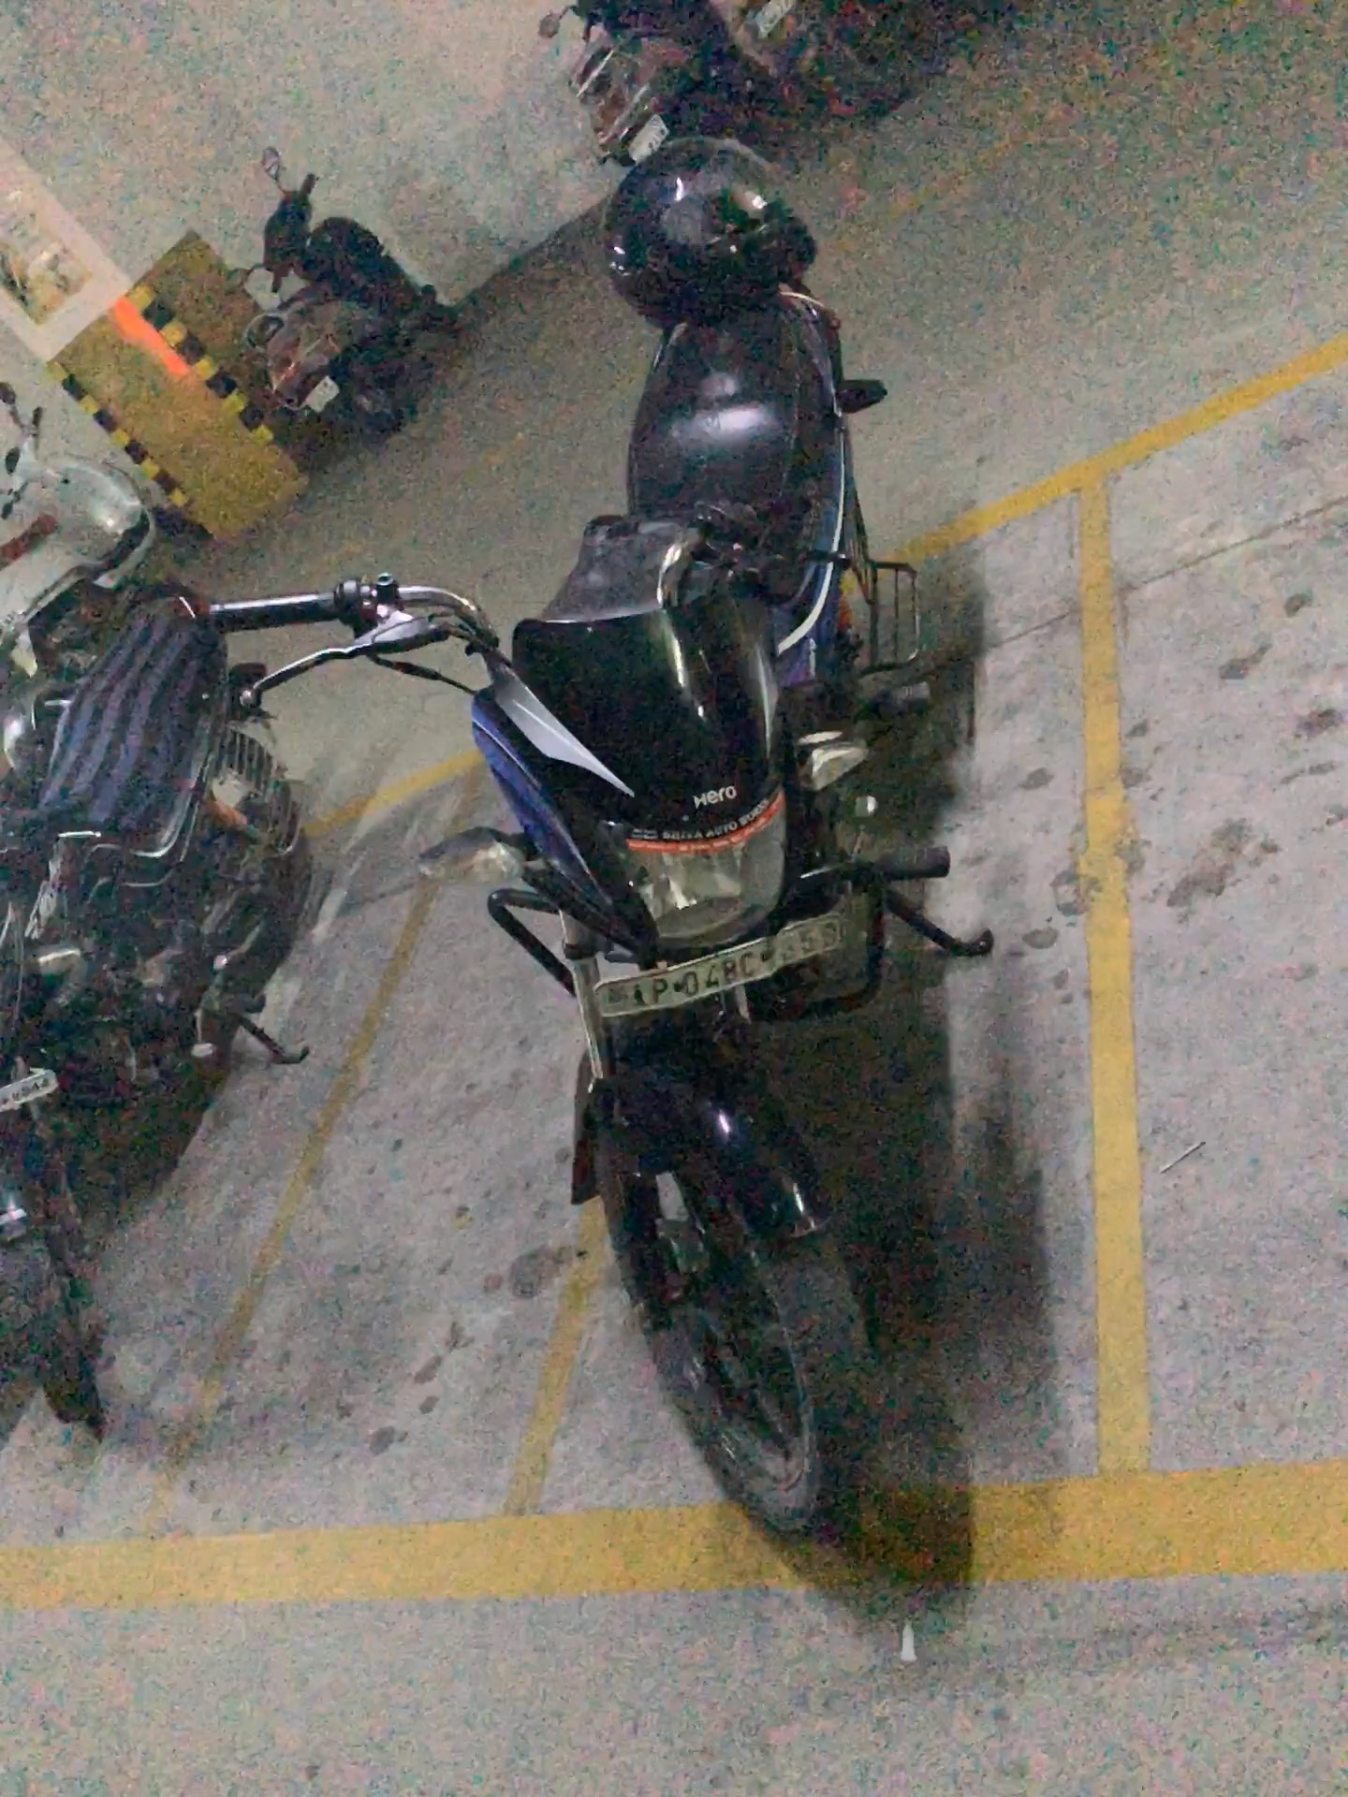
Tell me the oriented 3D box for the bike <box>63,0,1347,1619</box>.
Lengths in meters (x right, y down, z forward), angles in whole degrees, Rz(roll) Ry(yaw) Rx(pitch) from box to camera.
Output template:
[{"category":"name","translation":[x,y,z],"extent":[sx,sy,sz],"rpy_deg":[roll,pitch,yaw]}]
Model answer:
[{"category":"bike","translation":[0.179,-0.203,1.831],"extent":[0.769,1.155,1.723],"rpy_deg":[-24,38,27]}]
